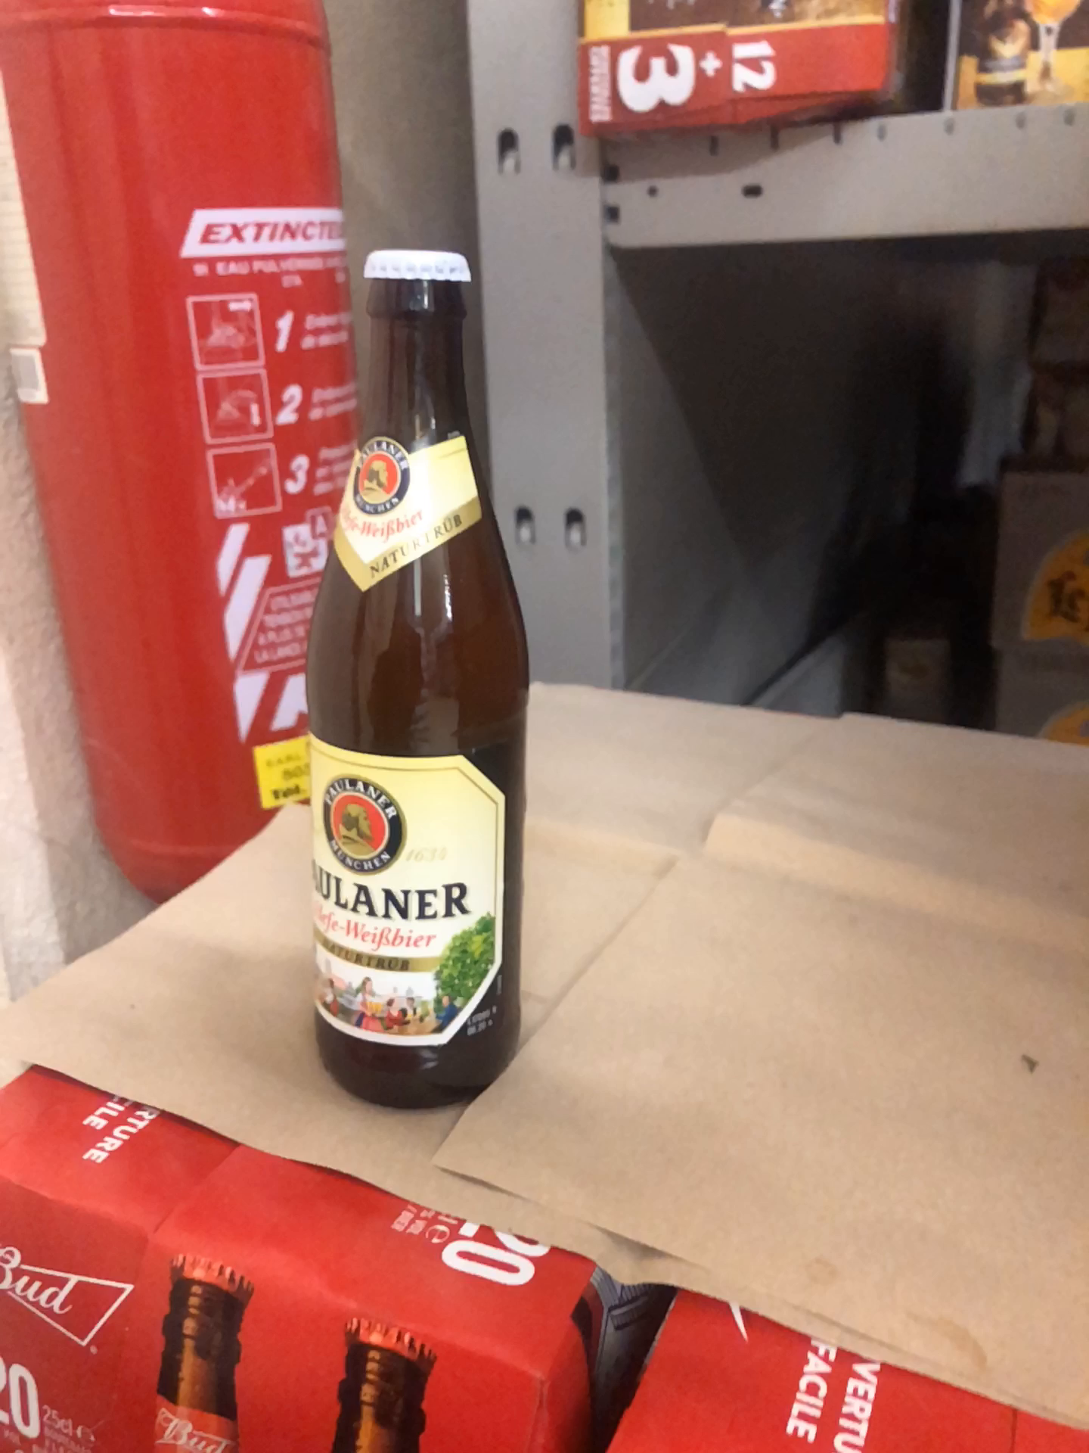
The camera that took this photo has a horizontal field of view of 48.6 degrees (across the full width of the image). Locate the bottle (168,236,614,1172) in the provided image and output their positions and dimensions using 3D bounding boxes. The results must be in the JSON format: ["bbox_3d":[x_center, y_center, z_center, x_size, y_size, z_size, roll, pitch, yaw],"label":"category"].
[{"bbox_3d":[-0.037,-0.009,0.349,0.080,0.239,0.080,-1,18,0],"label":"bottle"}]
